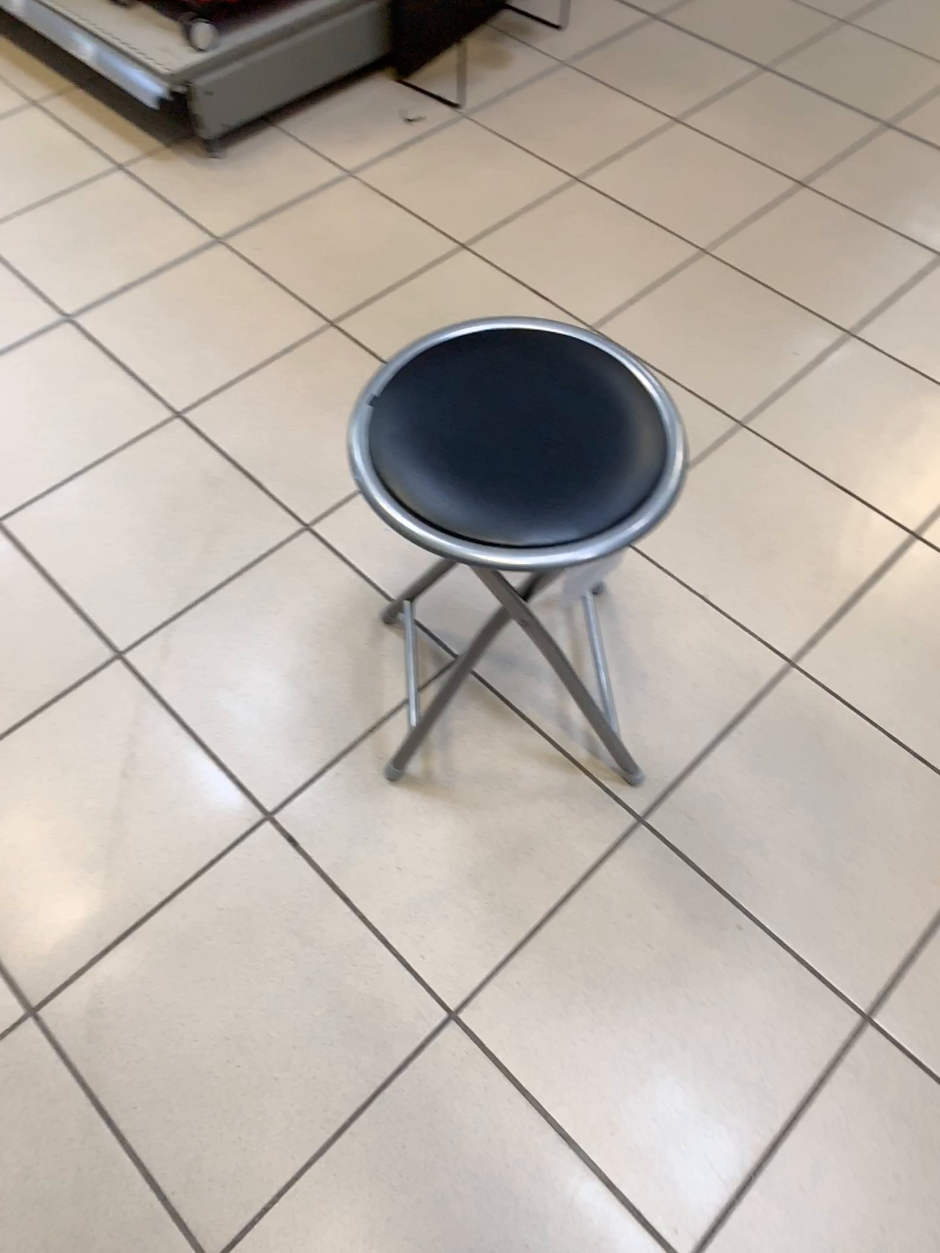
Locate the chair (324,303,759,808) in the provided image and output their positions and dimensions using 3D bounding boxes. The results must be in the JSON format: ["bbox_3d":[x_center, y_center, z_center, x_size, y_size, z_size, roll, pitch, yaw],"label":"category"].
[{"bbox_3d":[0.042,-0.056,0.990,0.334,0.402,0.329,-3,57,-3],"label":"chair"}]
